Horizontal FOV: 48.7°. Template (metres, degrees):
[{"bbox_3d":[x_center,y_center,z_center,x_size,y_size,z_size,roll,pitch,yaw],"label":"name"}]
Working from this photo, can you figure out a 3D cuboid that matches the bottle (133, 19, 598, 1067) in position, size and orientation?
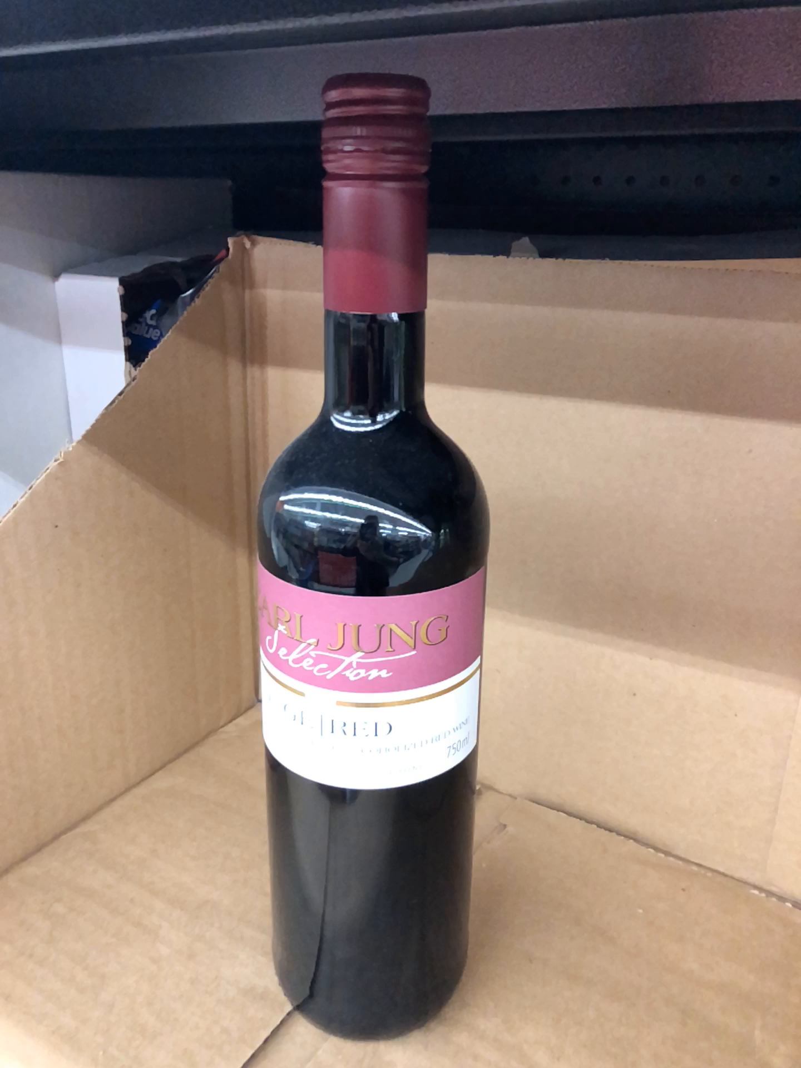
[{"bbox_3d":[-0.008,0.021,0.283,0.090,0.308,0.080,14,25,33],"label":"bottle"}]
